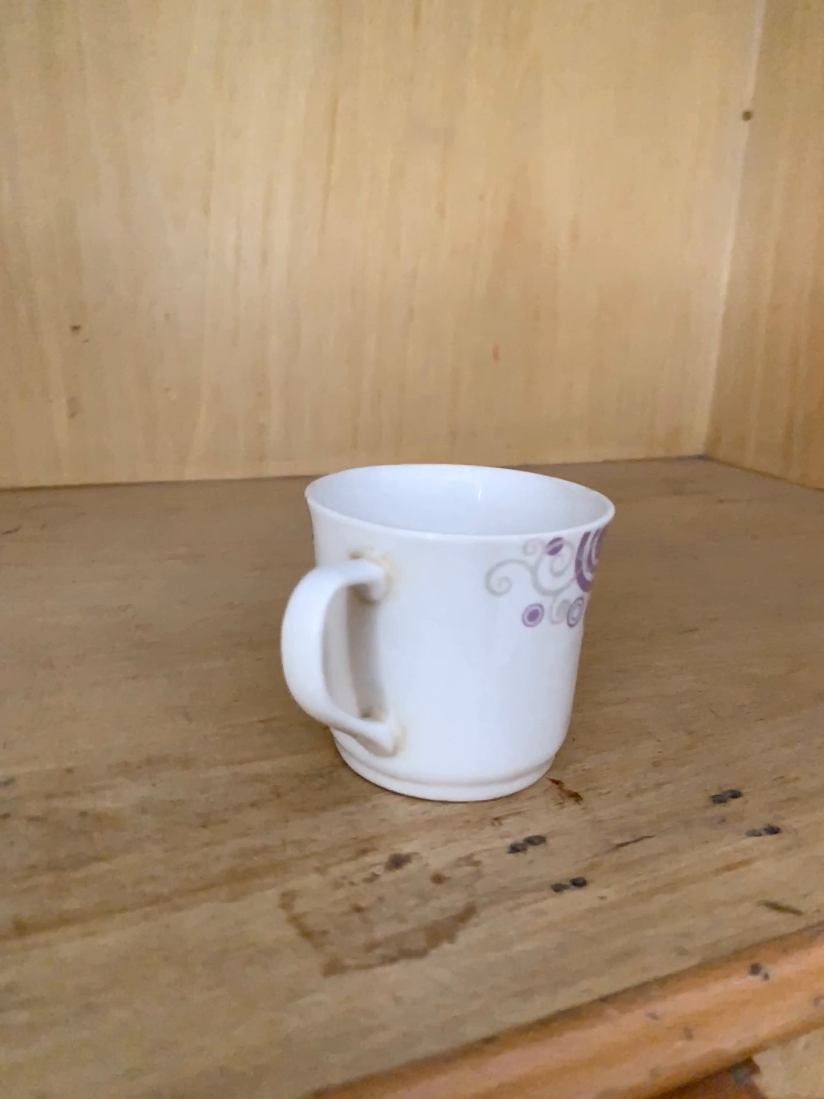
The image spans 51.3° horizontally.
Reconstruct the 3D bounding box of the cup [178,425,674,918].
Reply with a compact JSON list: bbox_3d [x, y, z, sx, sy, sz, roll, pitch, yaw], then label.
[{"bbox_3d":[0.006,0.015,0.197,0.070,0.070,0.090,14,20,33],"label":"cup"}]
